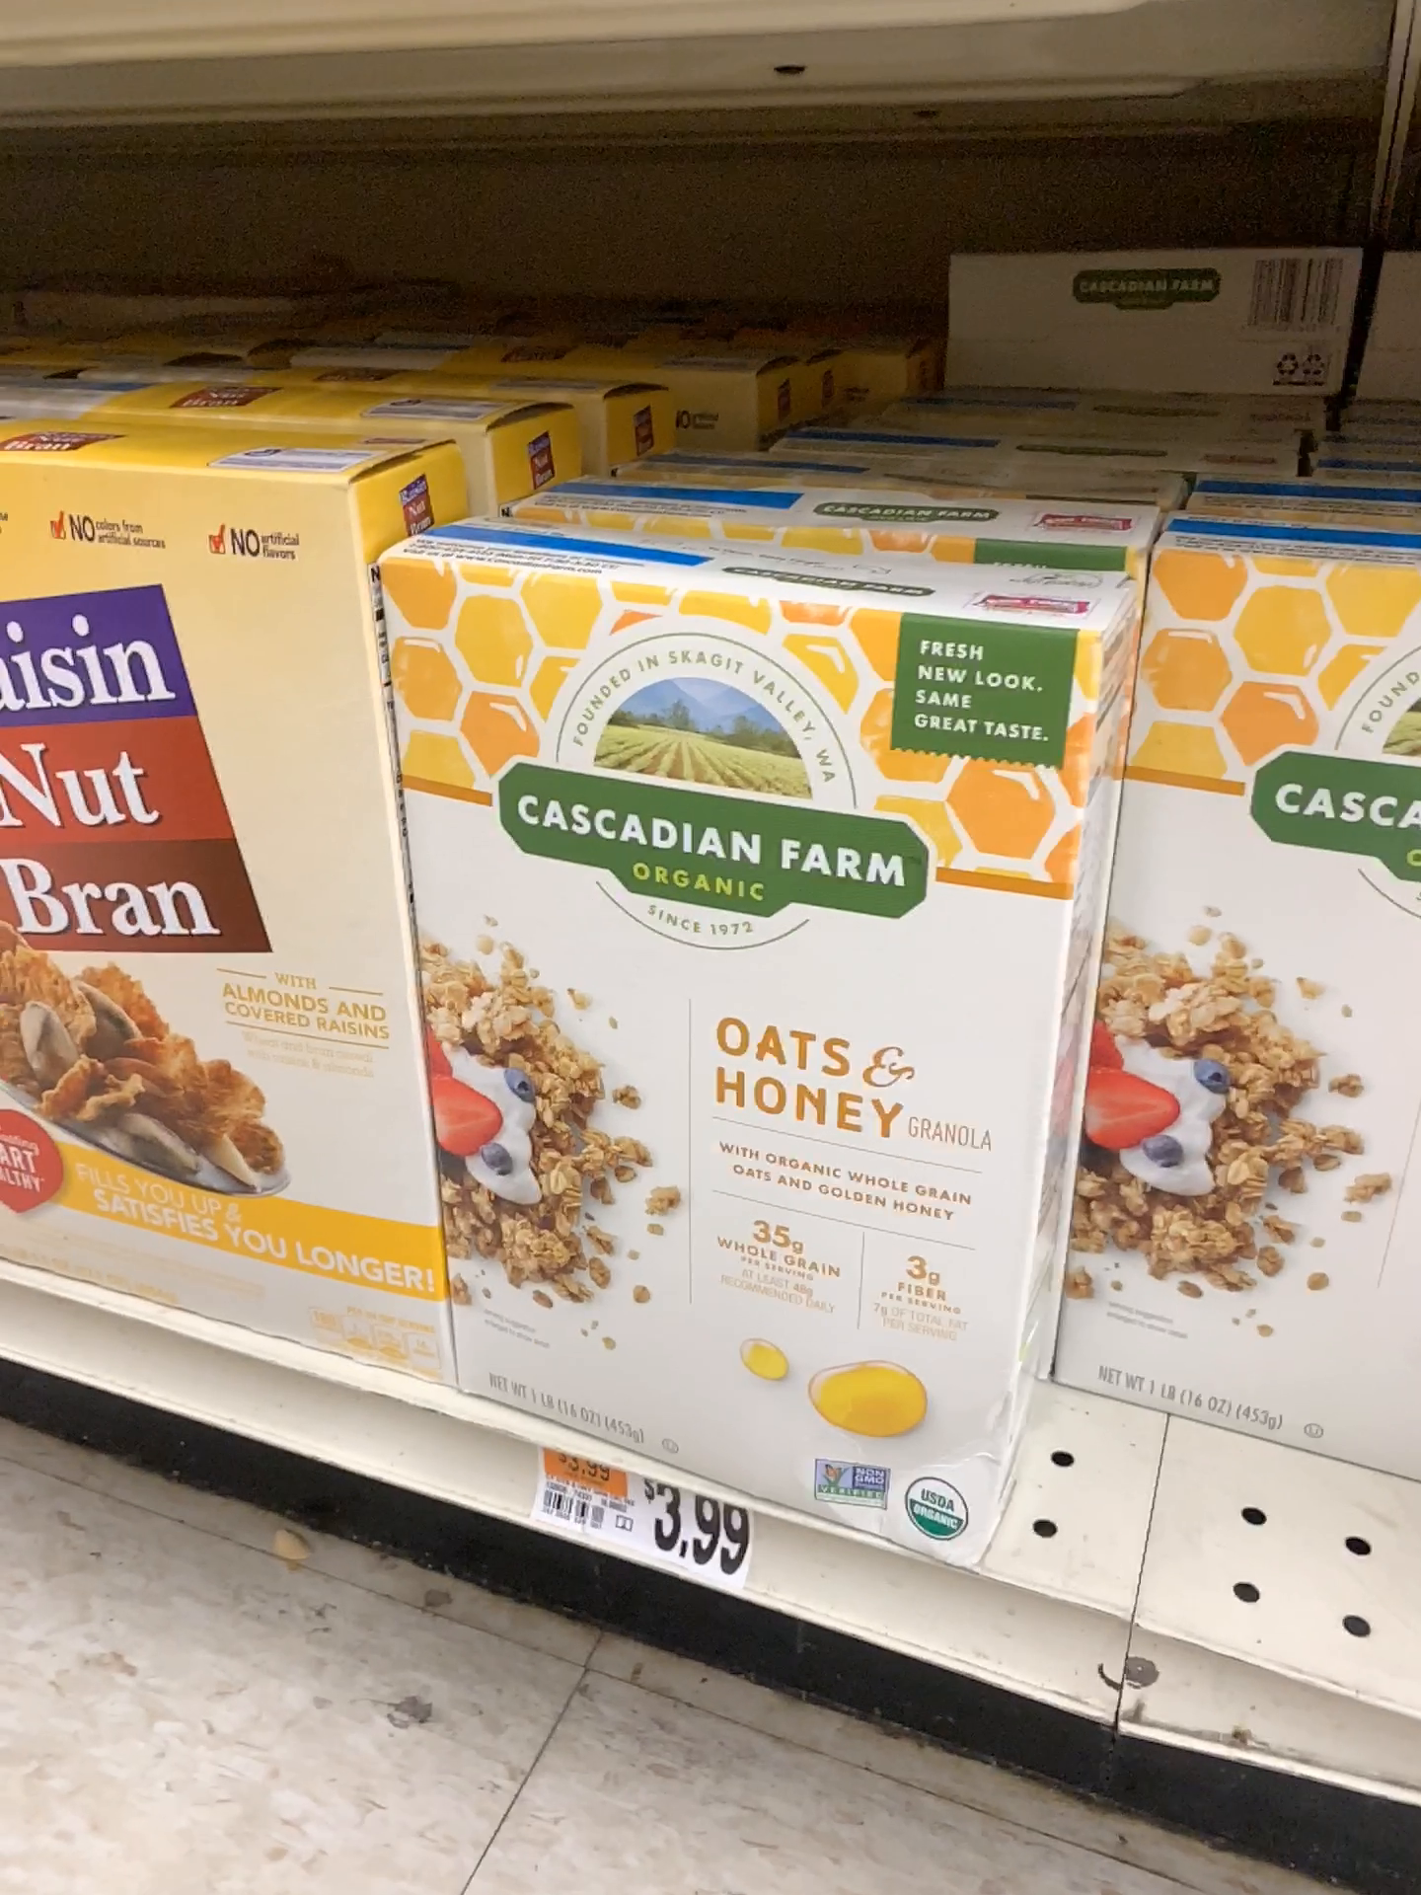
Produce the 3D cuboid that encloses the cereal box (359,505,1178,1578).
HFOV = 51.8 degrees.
[{"bbox_3d":[0.011,0.021,0.355,0.160,0.229,0.060,11,28,22],"label":"cereal box"}]
